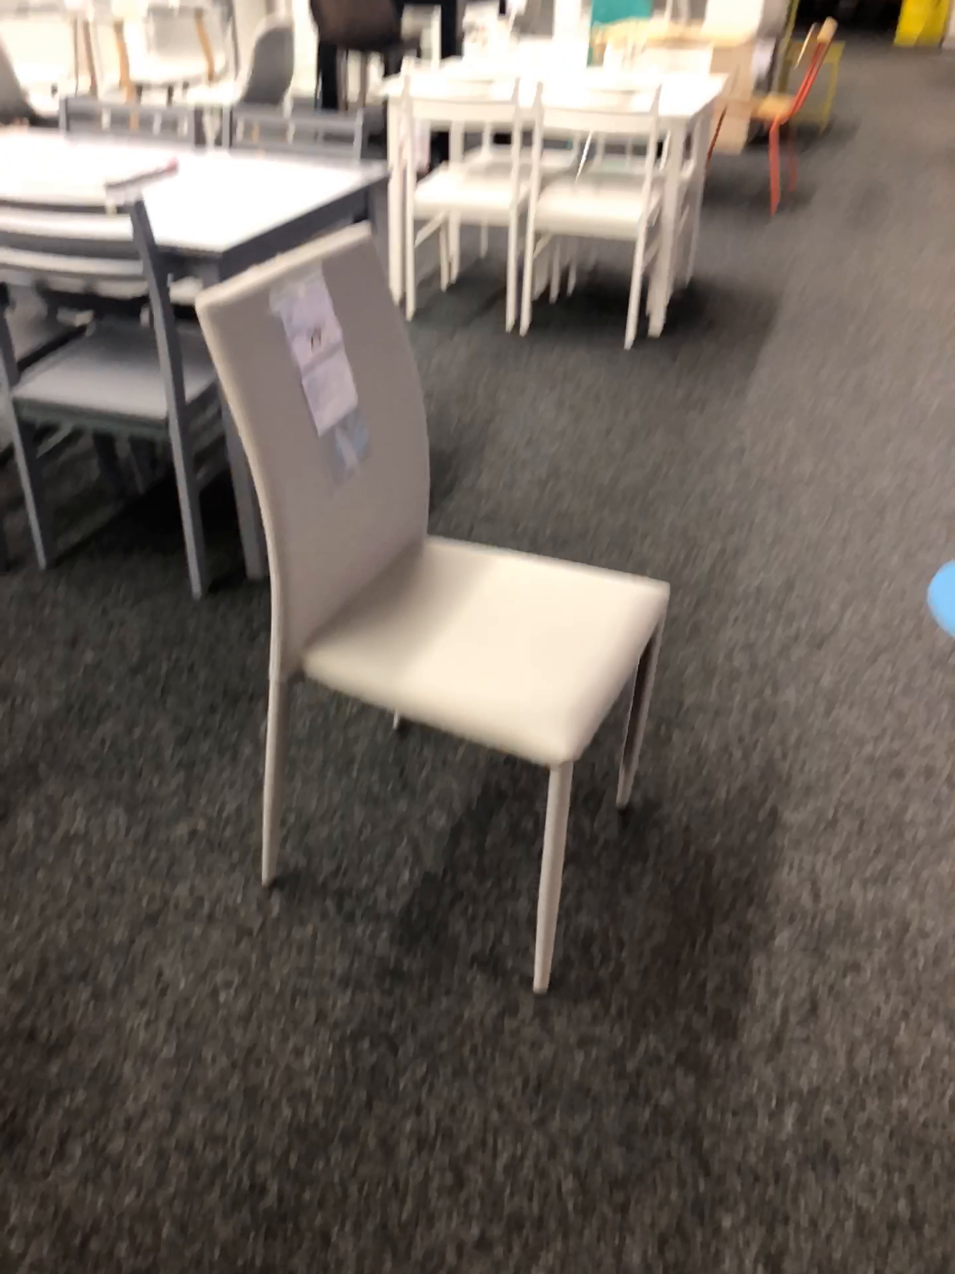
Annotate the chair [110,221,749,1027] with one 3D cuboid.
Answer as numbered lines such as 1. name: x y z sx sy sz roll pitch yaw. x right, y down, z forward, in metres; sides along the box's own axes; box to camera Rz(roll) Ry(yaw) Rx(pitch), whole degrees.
1. chair: -0.027 -0.036 1.372 0.540 0.815 0.503 14 36 18
